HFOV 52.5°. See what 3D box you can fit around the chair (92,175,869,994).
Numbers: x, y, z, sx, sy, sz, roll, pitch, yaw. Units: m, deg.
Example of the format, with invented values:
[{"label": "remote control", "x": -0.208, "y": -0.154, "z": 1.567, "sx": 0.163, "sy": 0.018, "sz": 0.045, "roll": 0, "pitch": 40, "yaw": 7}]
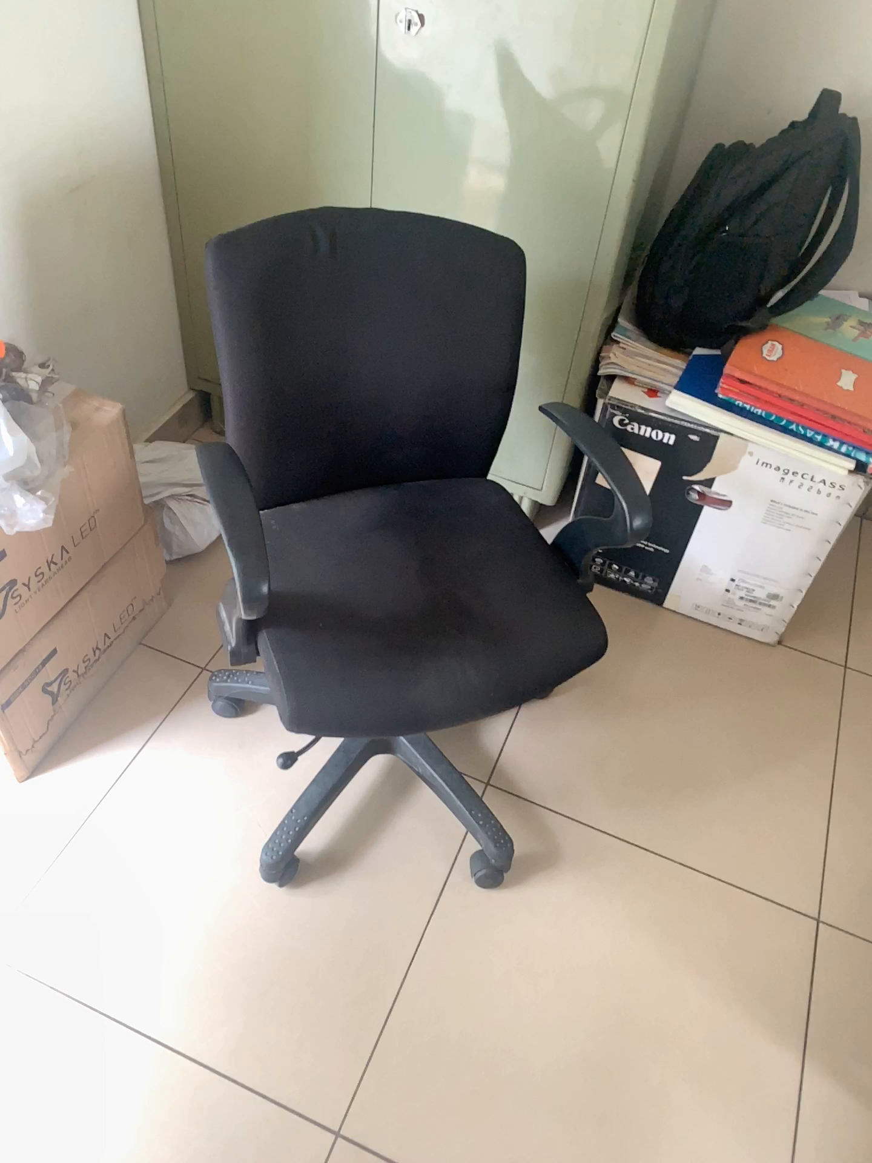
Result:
[{"label": "chair", "x": -0.034, "y": 0.005, "z": 1.383, "sx": 0.700, "sy": 0.927, "sz": 0.702, "roll": -14, "pitch": 50, "yaw": -19}]
